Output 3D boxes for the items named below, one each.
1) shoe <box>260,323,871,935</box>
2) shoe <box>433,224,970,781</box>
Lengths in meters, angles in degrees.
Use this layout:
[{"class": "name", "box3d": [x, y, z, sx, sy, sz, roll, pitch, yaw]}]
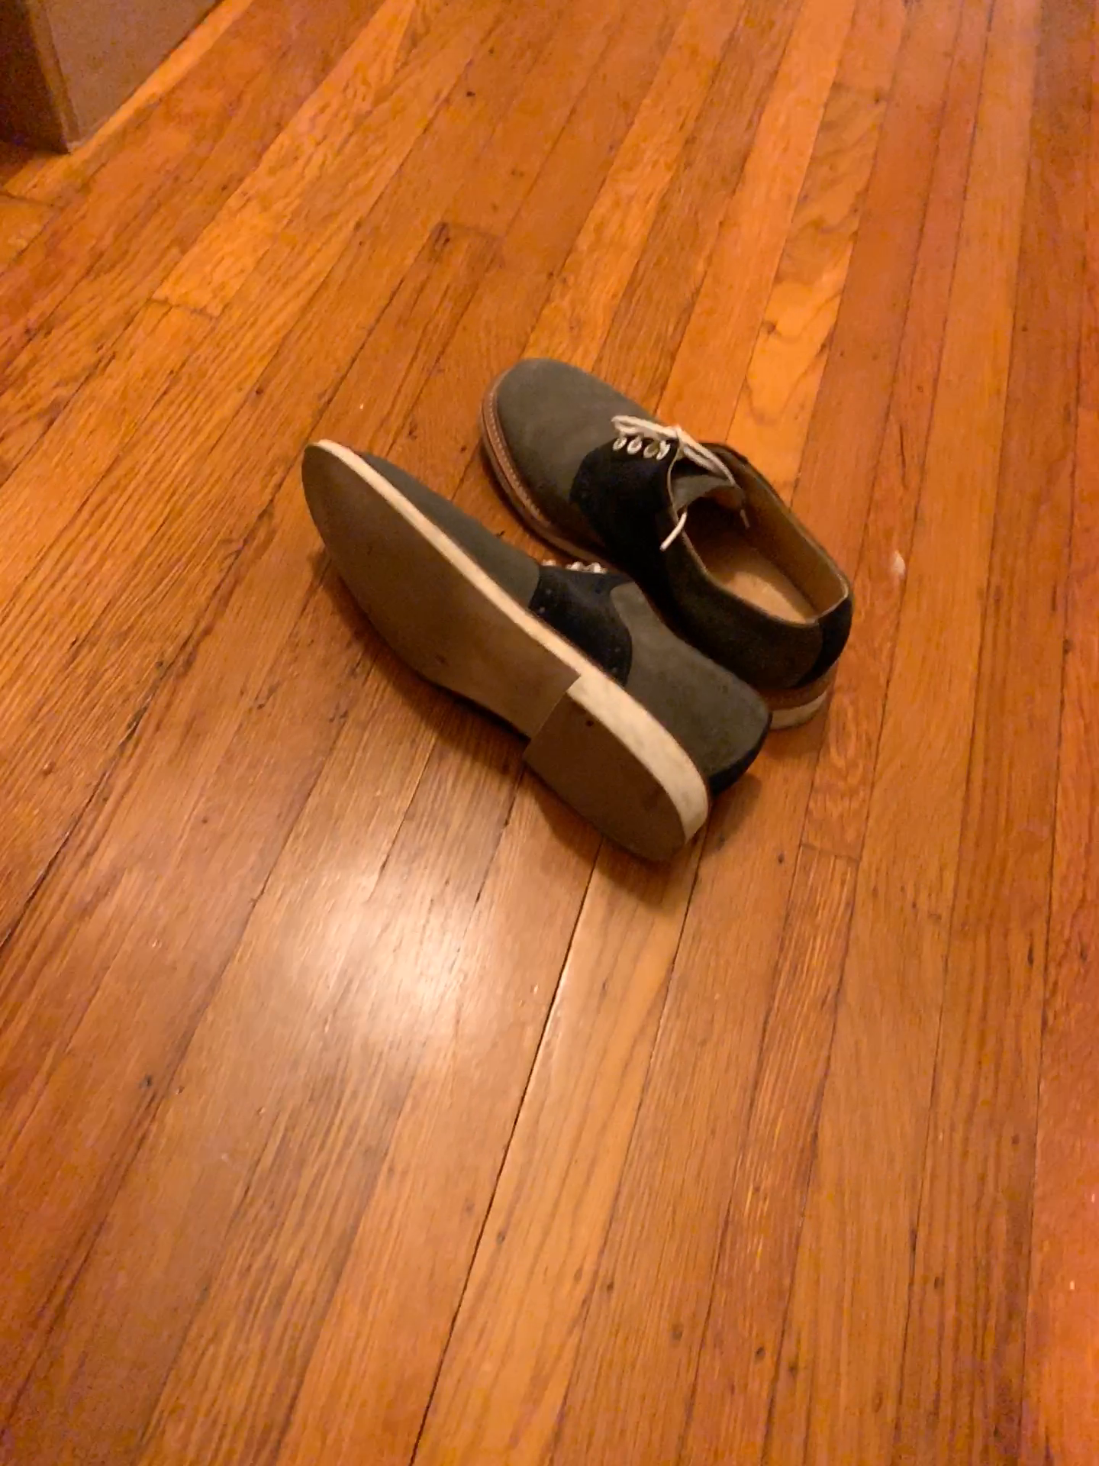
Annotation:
[{"class": "shoe", "box3d": [-0.007, -0.063, 0.609, 0.120, 0.130, 0.311, -37, 68, -28]}, {"class": "shoe", "box3d": [0.067, -0.143, 0.645, 0.130, 0.100, 0.311, -26, 64, -21]}]
